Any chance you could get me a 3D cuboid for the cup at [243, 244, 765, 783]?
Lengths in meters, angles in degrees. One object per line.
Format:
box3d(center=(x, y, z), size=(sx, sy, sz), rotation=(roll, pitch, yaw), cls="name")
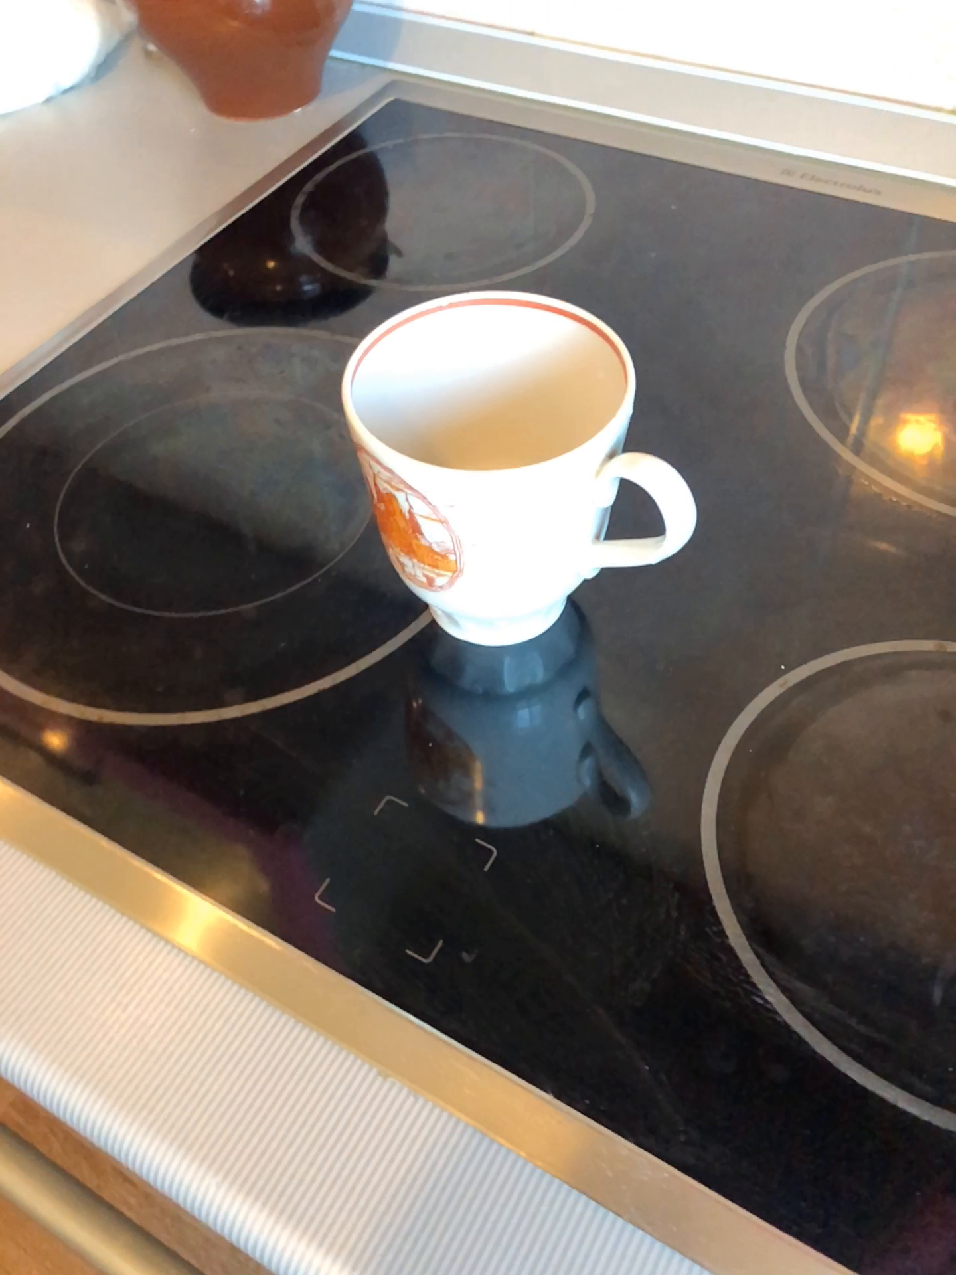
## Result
box3d(center=(0.006, -0.042, 0.333), size=(0.090, 0.090, 0.120), rotation=(-34, 57, -24), cls="cup")
